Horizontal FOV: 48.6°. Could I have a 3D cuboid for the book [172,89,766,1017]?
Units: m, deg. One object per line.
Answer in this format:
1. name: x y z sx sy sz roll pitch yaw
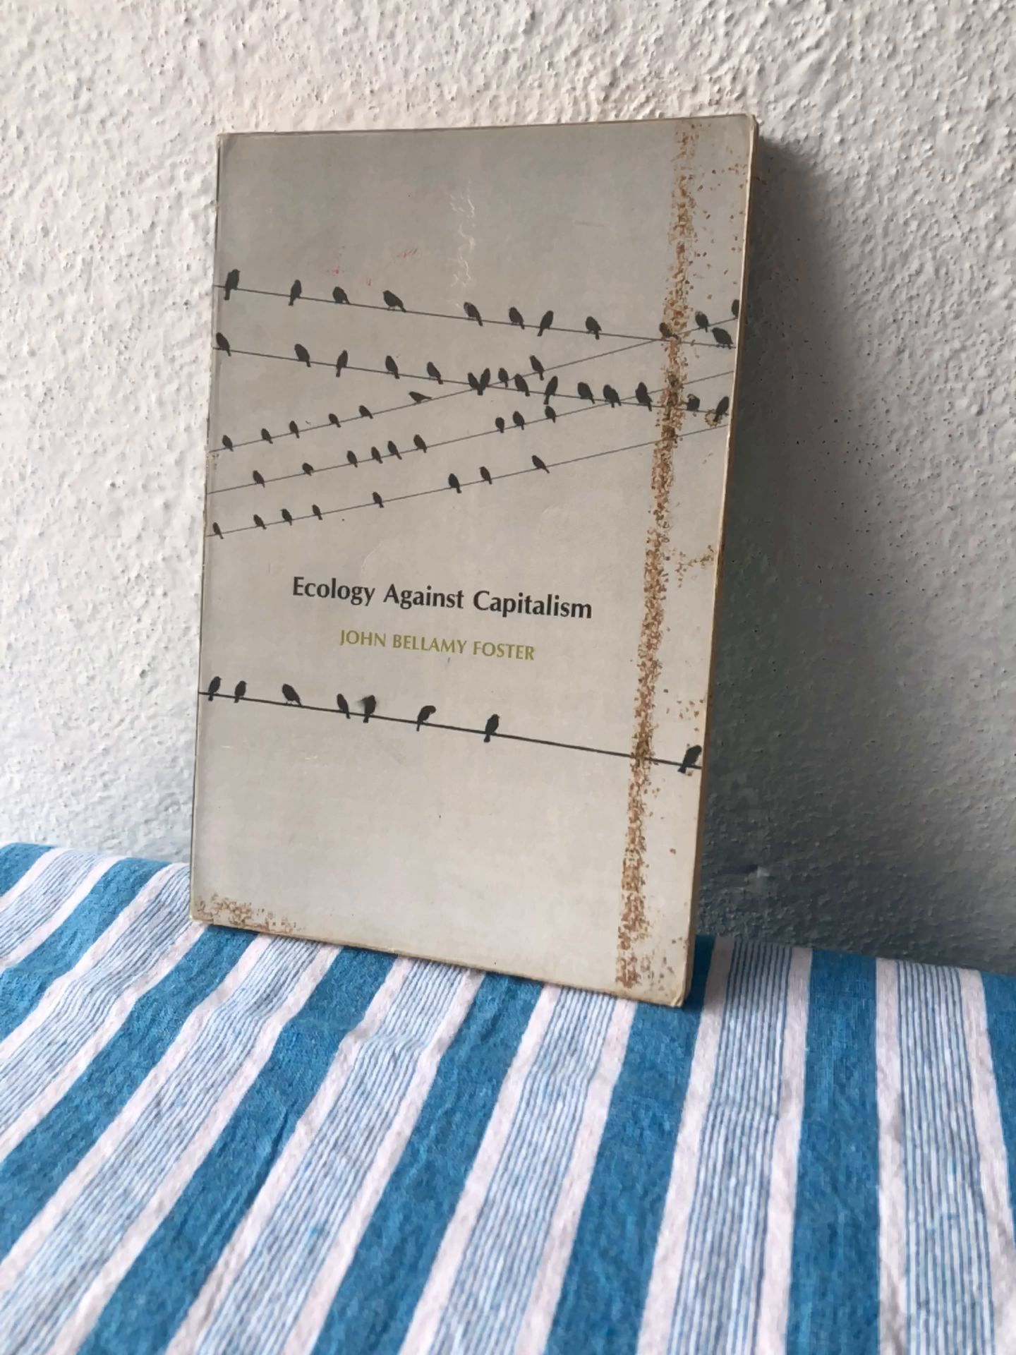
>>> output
1. book: -0.013 -0.032 0.292 0.140 0.210 0.030 4 2 20
